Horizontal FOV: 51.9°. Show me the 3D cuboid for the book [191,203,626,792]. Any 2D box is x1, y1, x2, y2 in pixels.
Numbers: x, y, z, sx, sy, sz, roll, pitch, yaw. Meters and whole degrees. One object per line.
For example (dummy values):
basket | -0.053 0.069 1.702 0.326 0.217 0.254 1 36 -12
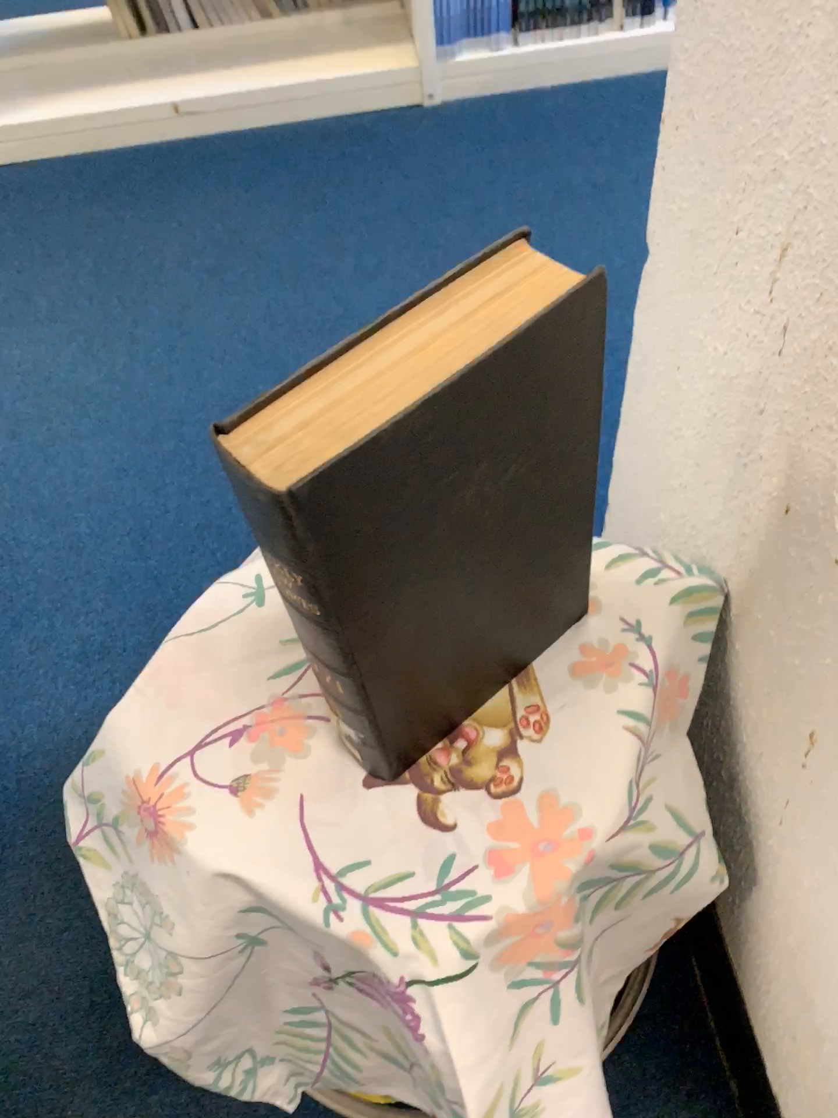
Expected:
book | 0.011 -0.010 0.403 0.162 0.244 0.052 -38 58 -21
